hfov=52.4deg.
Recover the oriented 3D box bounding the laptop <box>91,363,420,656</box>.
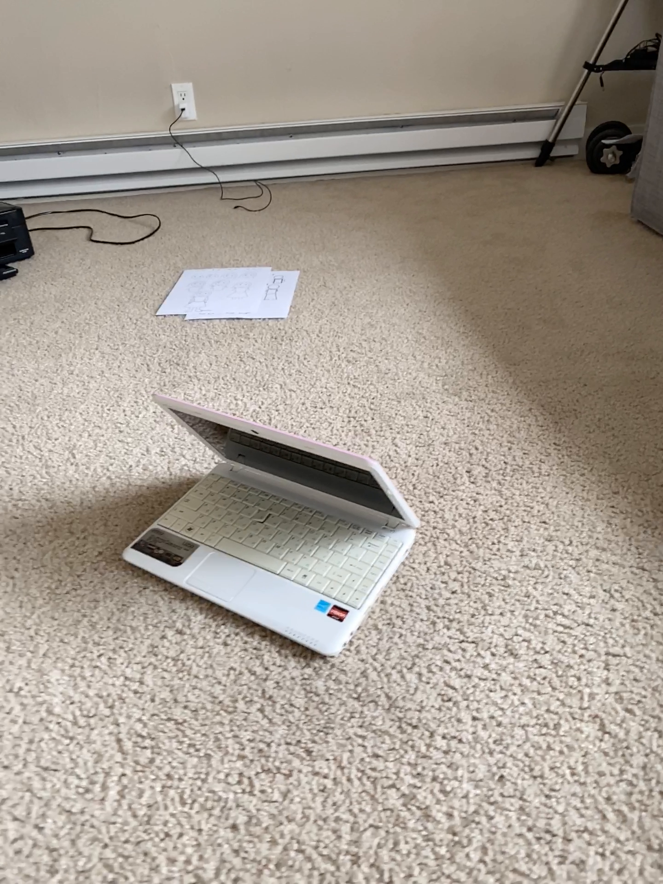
[{"bbox_3d":[-0.075,0.054,0.732,0.286,0.147,0.188,16,40,28],"label":"laptop"}]
